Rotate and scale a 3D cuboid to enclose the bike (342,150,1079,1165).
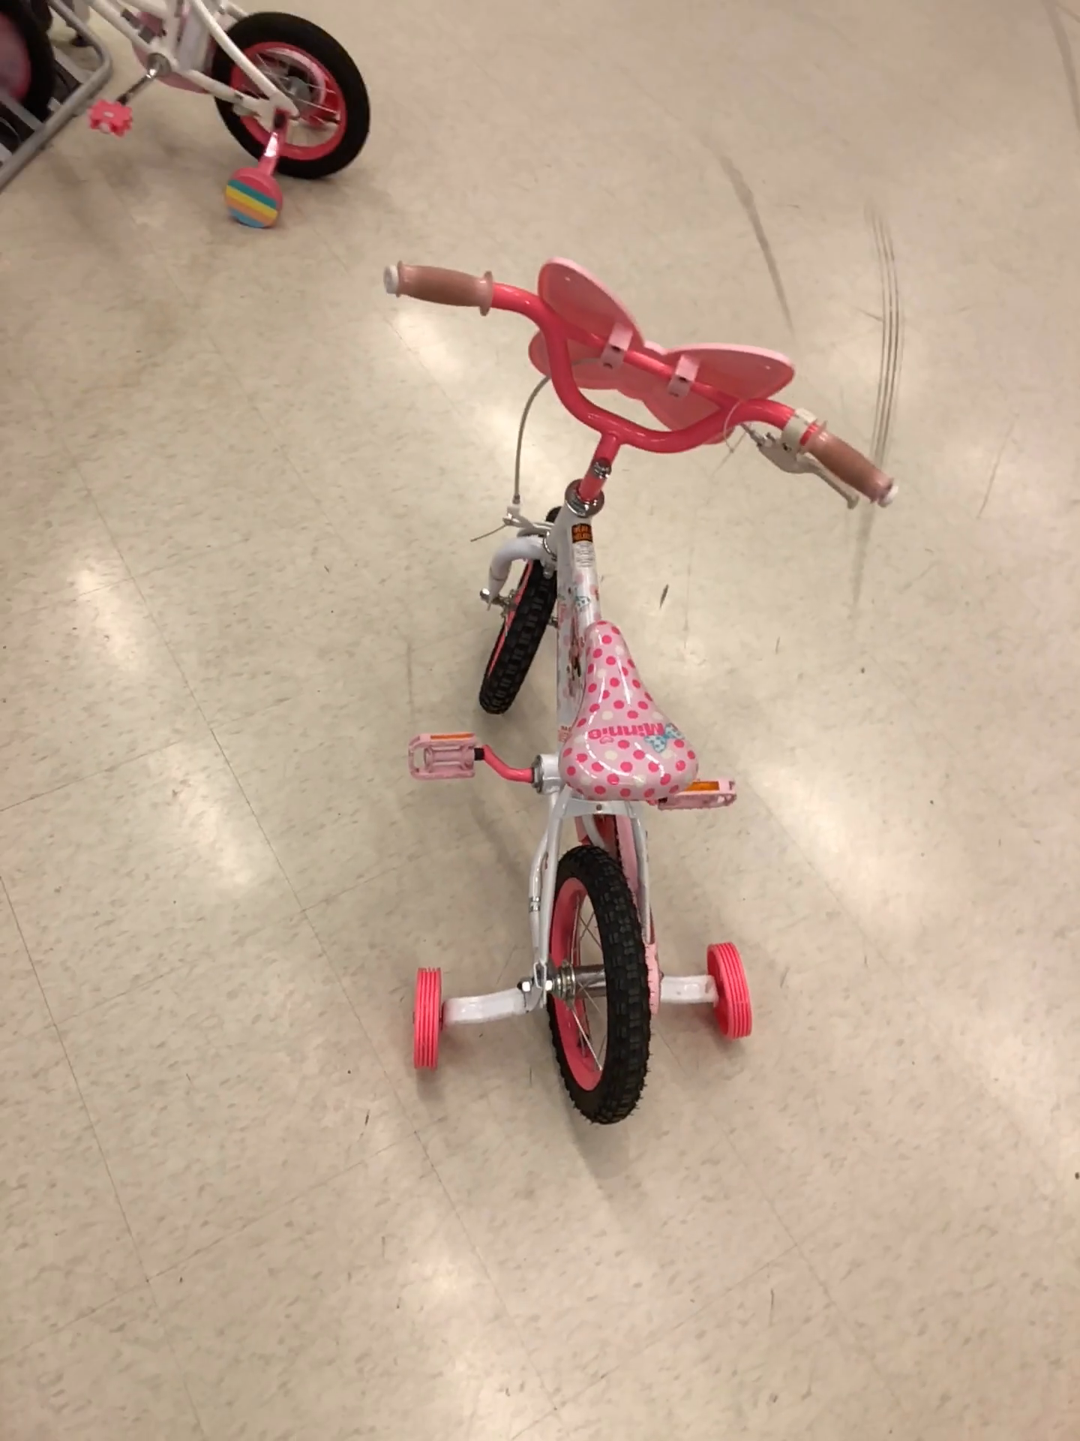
[{"bbox_3d":[0.077,-0.048,1.225,0.510,0.681,0.776,-1,55,-7],"label":"bike"}]
